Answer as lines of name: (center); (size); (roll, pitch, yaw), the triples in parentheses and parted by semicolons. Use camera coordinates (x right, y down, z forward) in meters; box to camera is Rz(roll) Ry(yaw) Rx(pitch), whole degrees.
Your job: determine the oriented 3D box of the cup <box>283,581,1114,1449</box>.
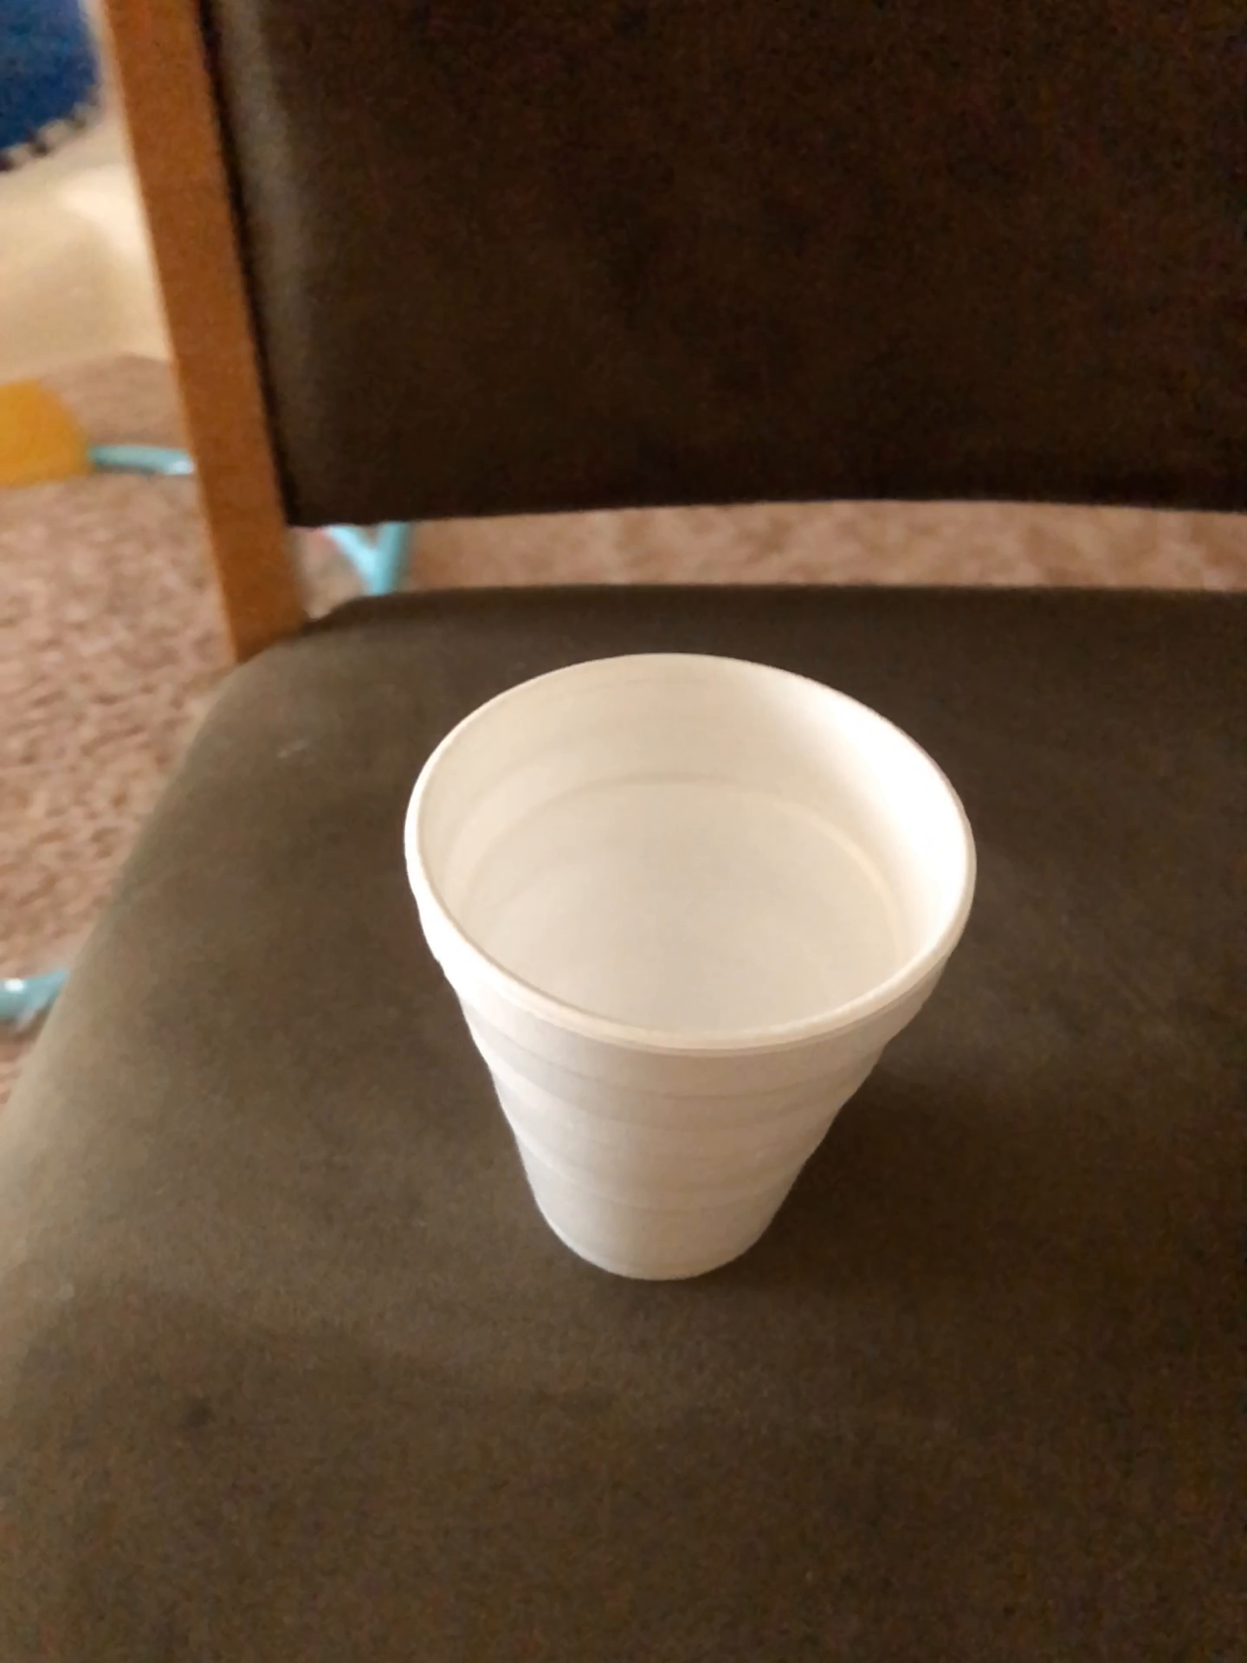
cup: (0.006, 0.026, 0.233); (0.090, 0.080, 0.090); (1, 46, -1)
